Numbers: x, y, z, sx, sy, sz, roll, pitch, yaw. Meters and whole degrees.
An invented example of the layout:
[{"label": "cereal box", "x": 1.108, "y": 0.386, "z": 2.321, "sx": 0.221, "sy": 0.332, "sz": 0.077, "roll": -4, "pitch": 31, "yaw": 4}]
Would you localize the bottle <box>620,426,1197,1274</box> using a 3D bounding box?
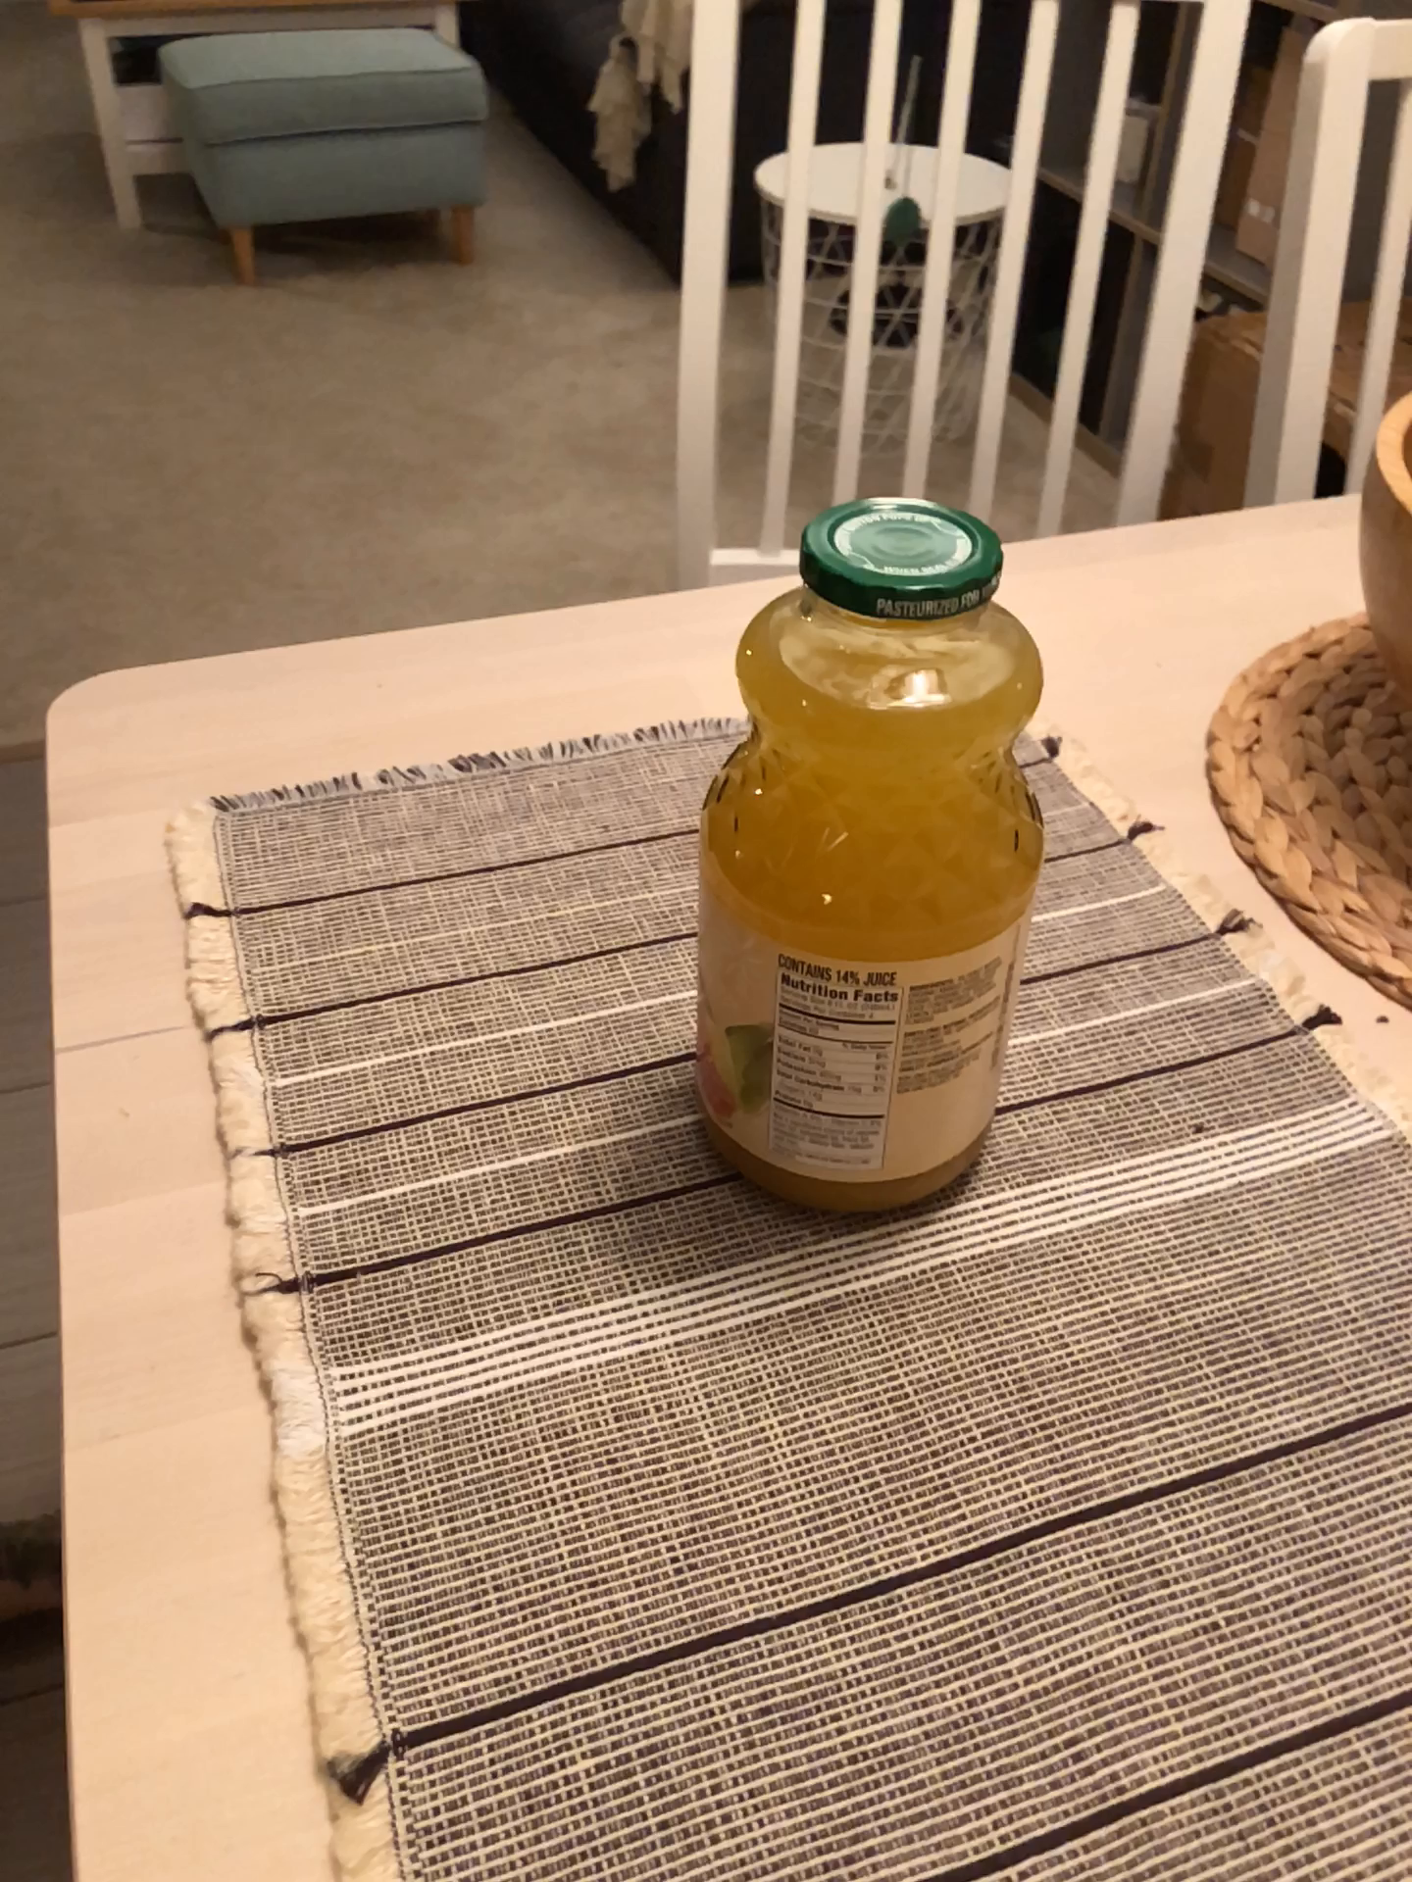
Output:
[{"label": "bottle", "x": 0.047, "y": -0.024, "z": 0.435, "sx": 0.100, "sy": 0.189, "sz": 0.101, "roll": 1, "pitch": 40, "yaw": -1}]
